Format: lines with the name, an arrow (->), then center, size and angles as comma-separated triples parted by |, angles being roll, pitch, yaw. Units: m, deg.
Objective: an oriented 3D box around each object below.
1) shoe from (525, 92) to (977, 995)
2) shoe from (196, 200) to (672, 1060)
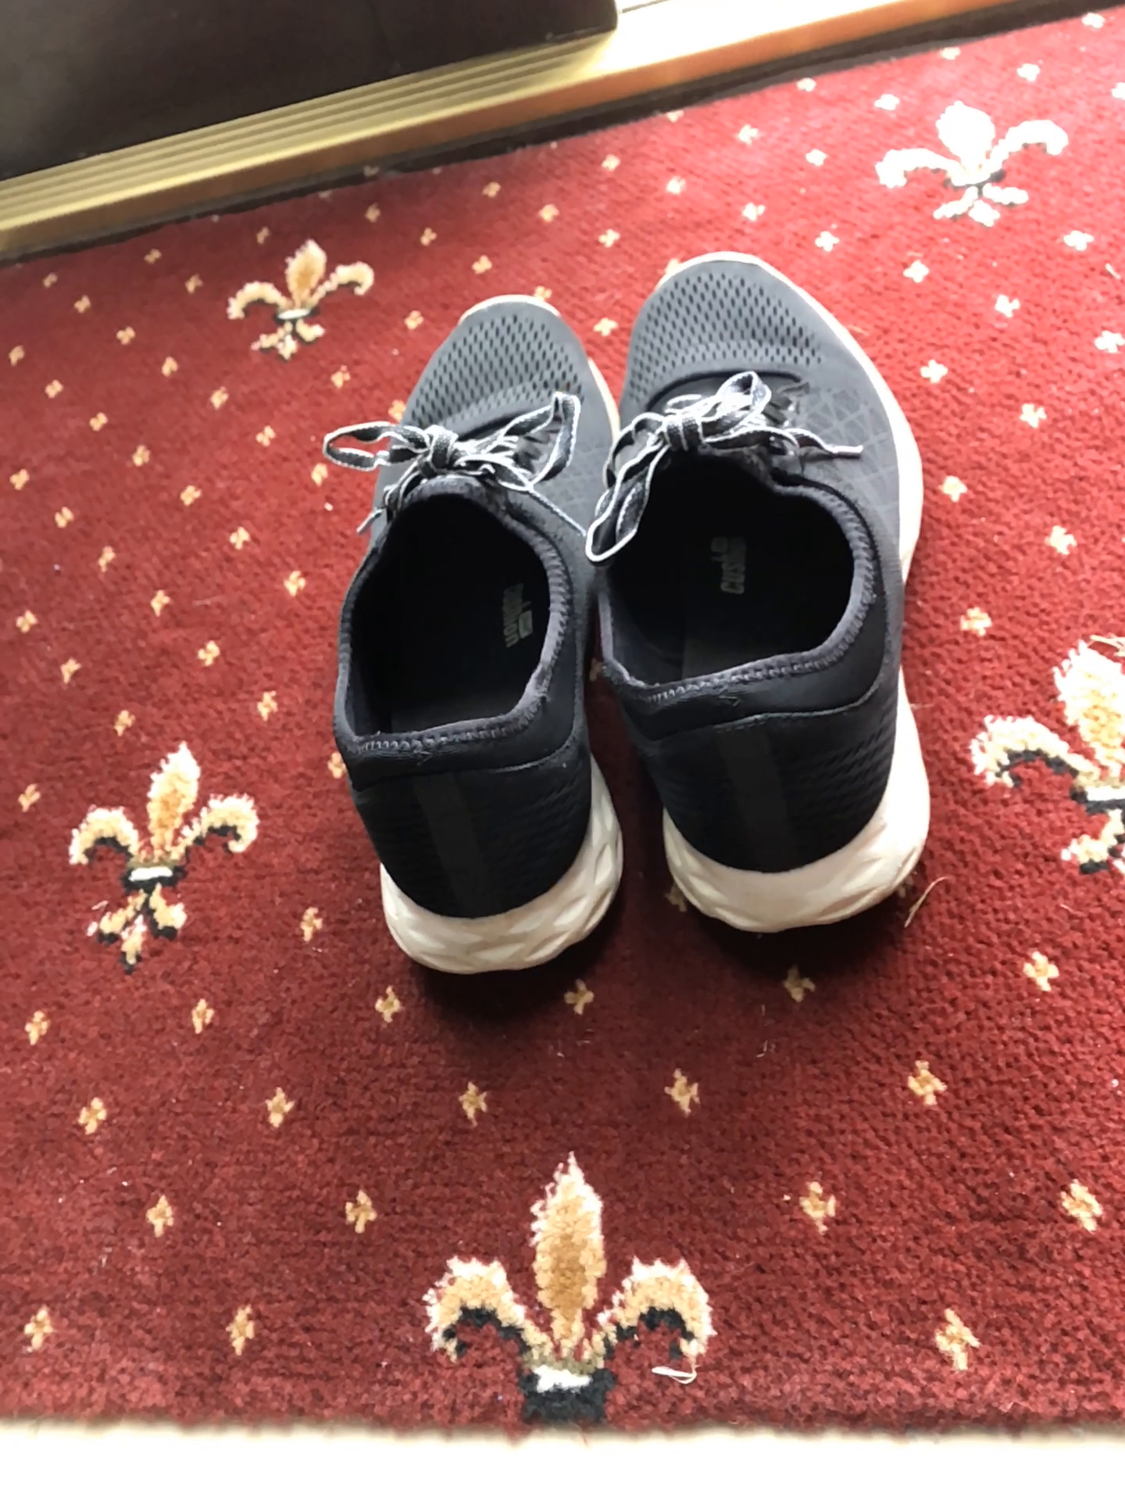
shoe -> 0.060, -0.074, 0.399 | 0.100, 0.109, 0.272 | -7, 54, 14
shoe -> -0.029, -0.049, 0.426 | 0.100, 0.109, 0.272 | -9, 54, 13
